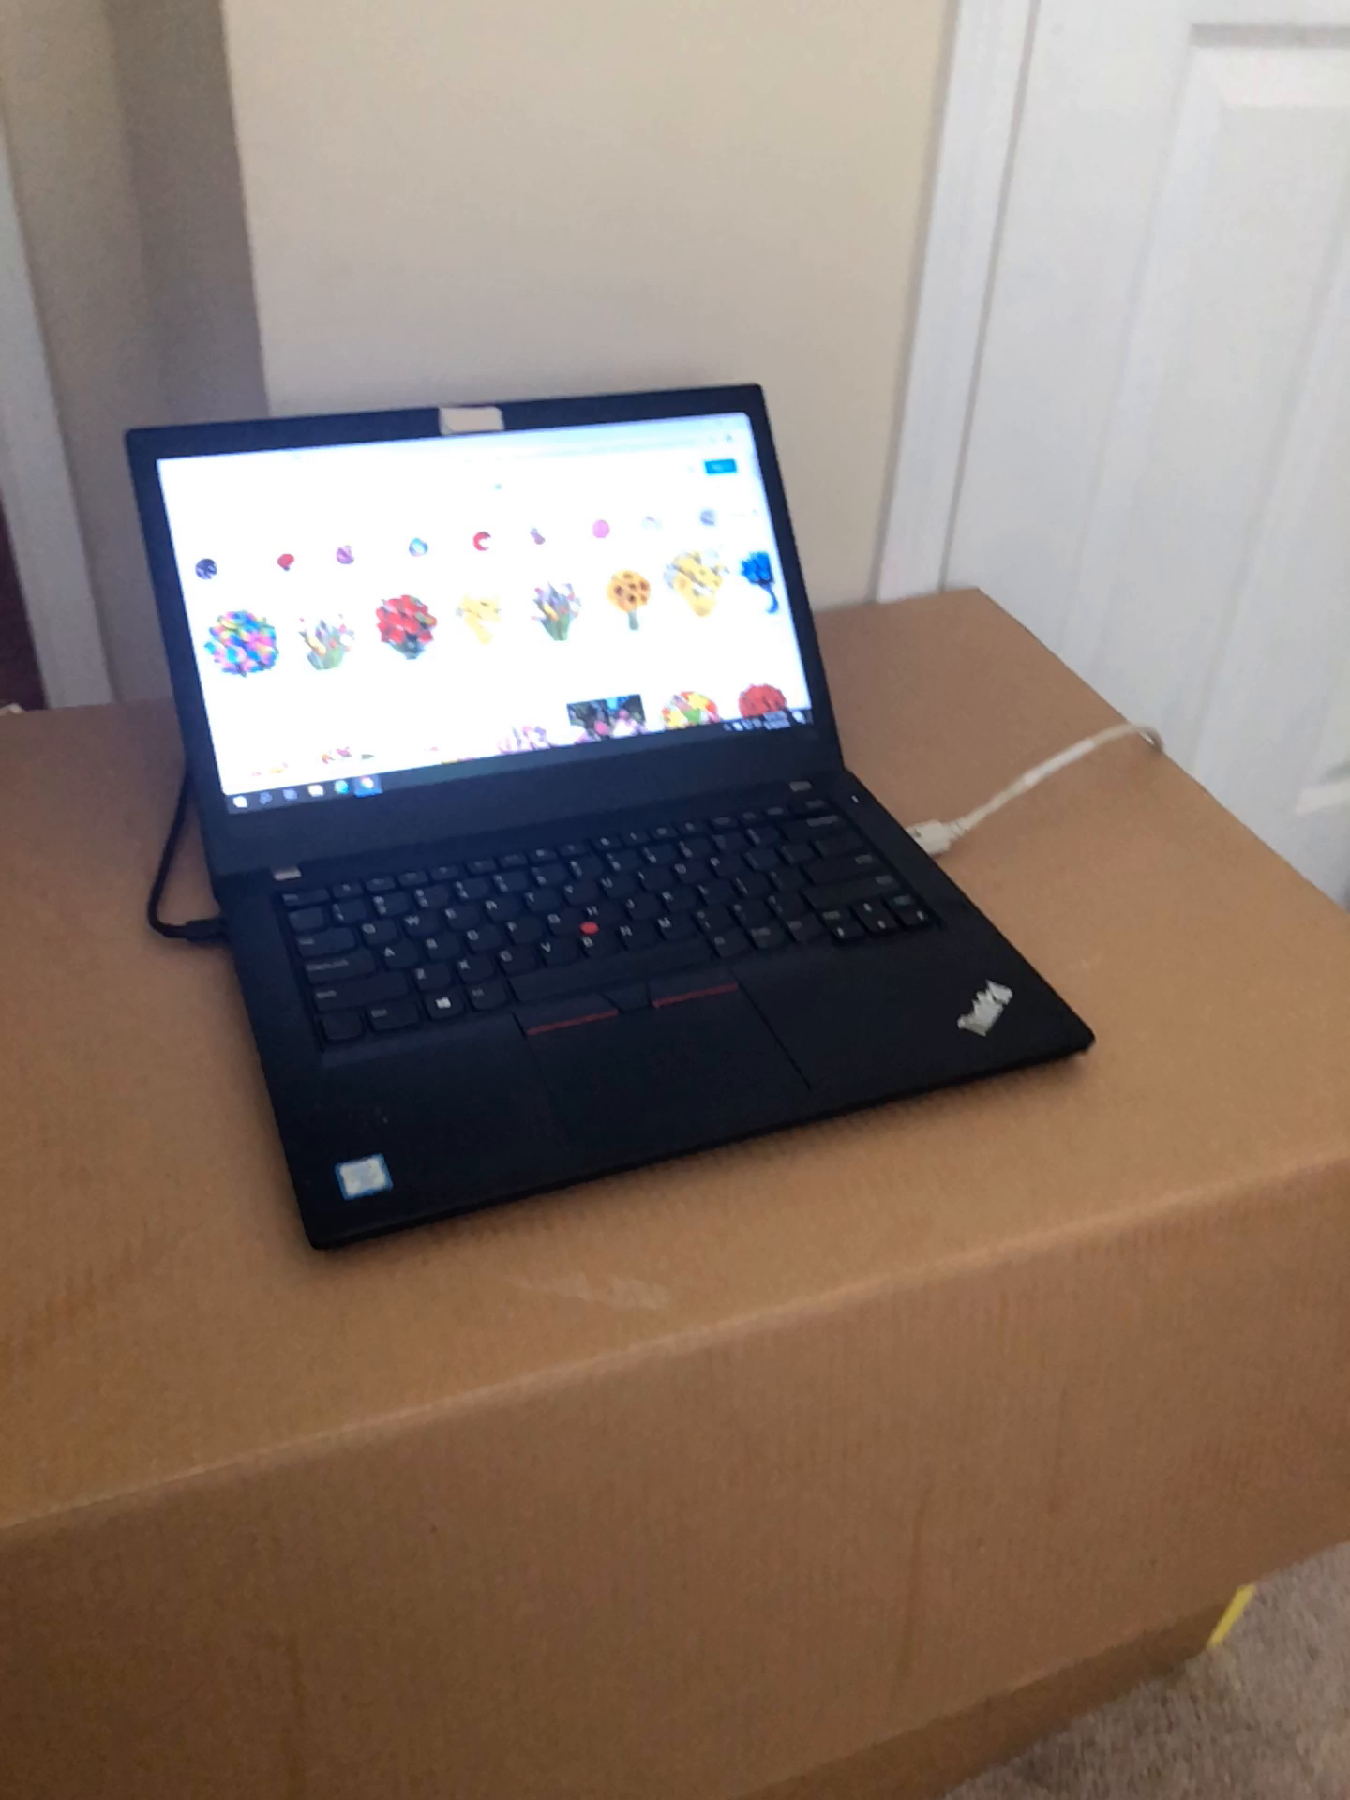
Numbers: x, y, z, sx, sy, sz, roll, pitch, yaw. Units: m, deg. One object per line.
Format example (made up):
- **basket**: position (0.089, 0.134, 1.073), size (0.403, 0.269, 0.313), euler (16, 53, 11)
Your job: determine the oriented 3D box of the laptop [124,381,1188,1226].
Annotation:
- **laptop**: position (-0.041, -0.083, 0.651), size (0.322, 0.158, 0.366), euler (-11, 38, -19)
